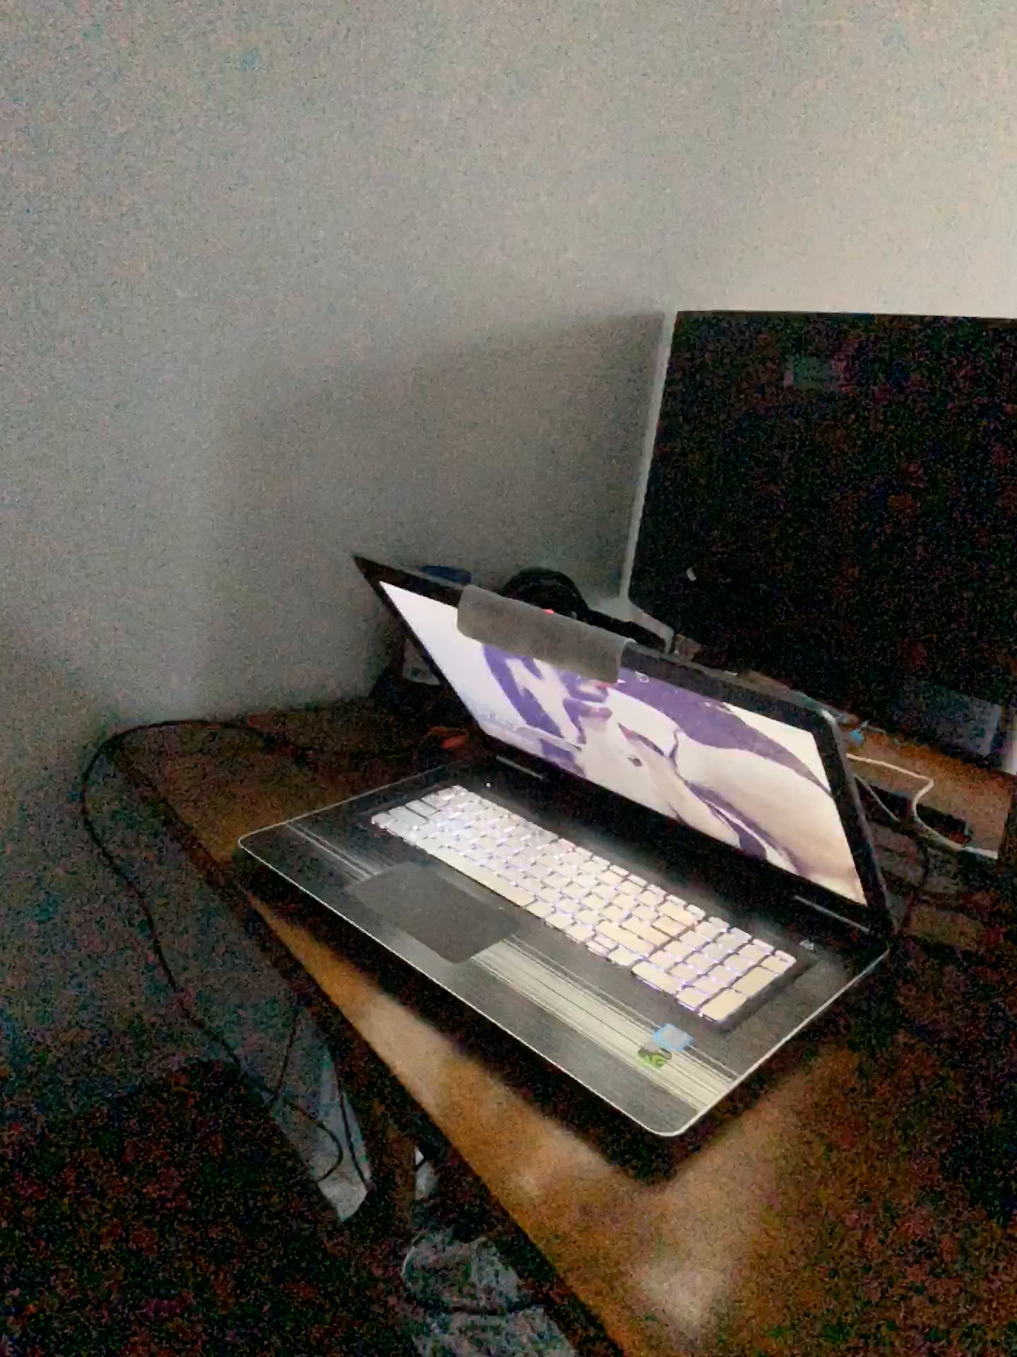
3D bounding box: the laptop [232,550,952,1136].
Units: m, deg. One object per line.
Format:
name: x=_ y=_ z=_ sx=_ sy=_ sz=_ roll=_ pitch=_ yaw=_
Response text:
laptop: x=0.035 y=0.059 z=0.710 sx=0.394 sy=0.187 sz=0.257 roll=21 pitch=24 yaw=40
